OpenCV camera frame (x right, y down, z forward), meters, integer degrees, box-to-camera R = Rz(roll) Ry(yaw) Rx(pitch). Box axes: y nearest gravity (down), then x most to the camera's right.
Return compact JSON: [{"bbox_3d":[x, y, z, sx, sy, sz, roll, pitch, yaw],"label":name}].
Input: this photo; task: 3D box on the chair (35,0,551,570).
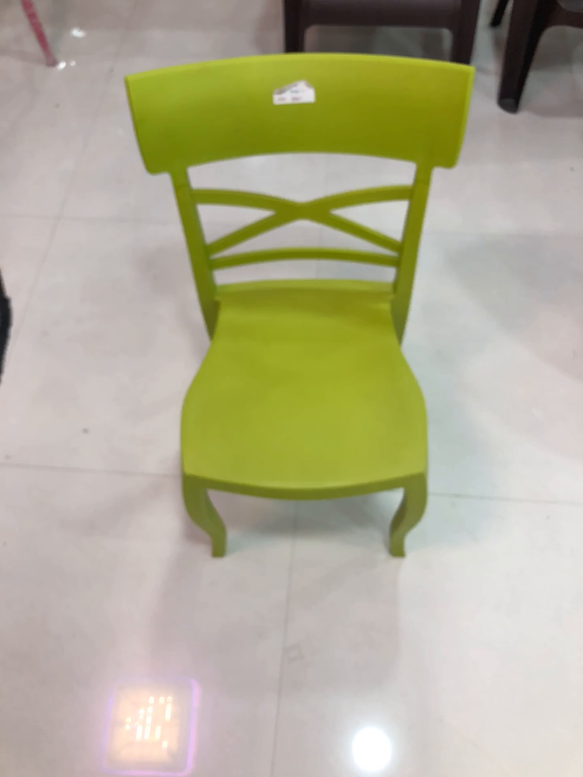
[{"bbox_3d":[0.024,-0.101,1.134,0.500,0.807,0.613,0,60,3],"label":"chair"}]
